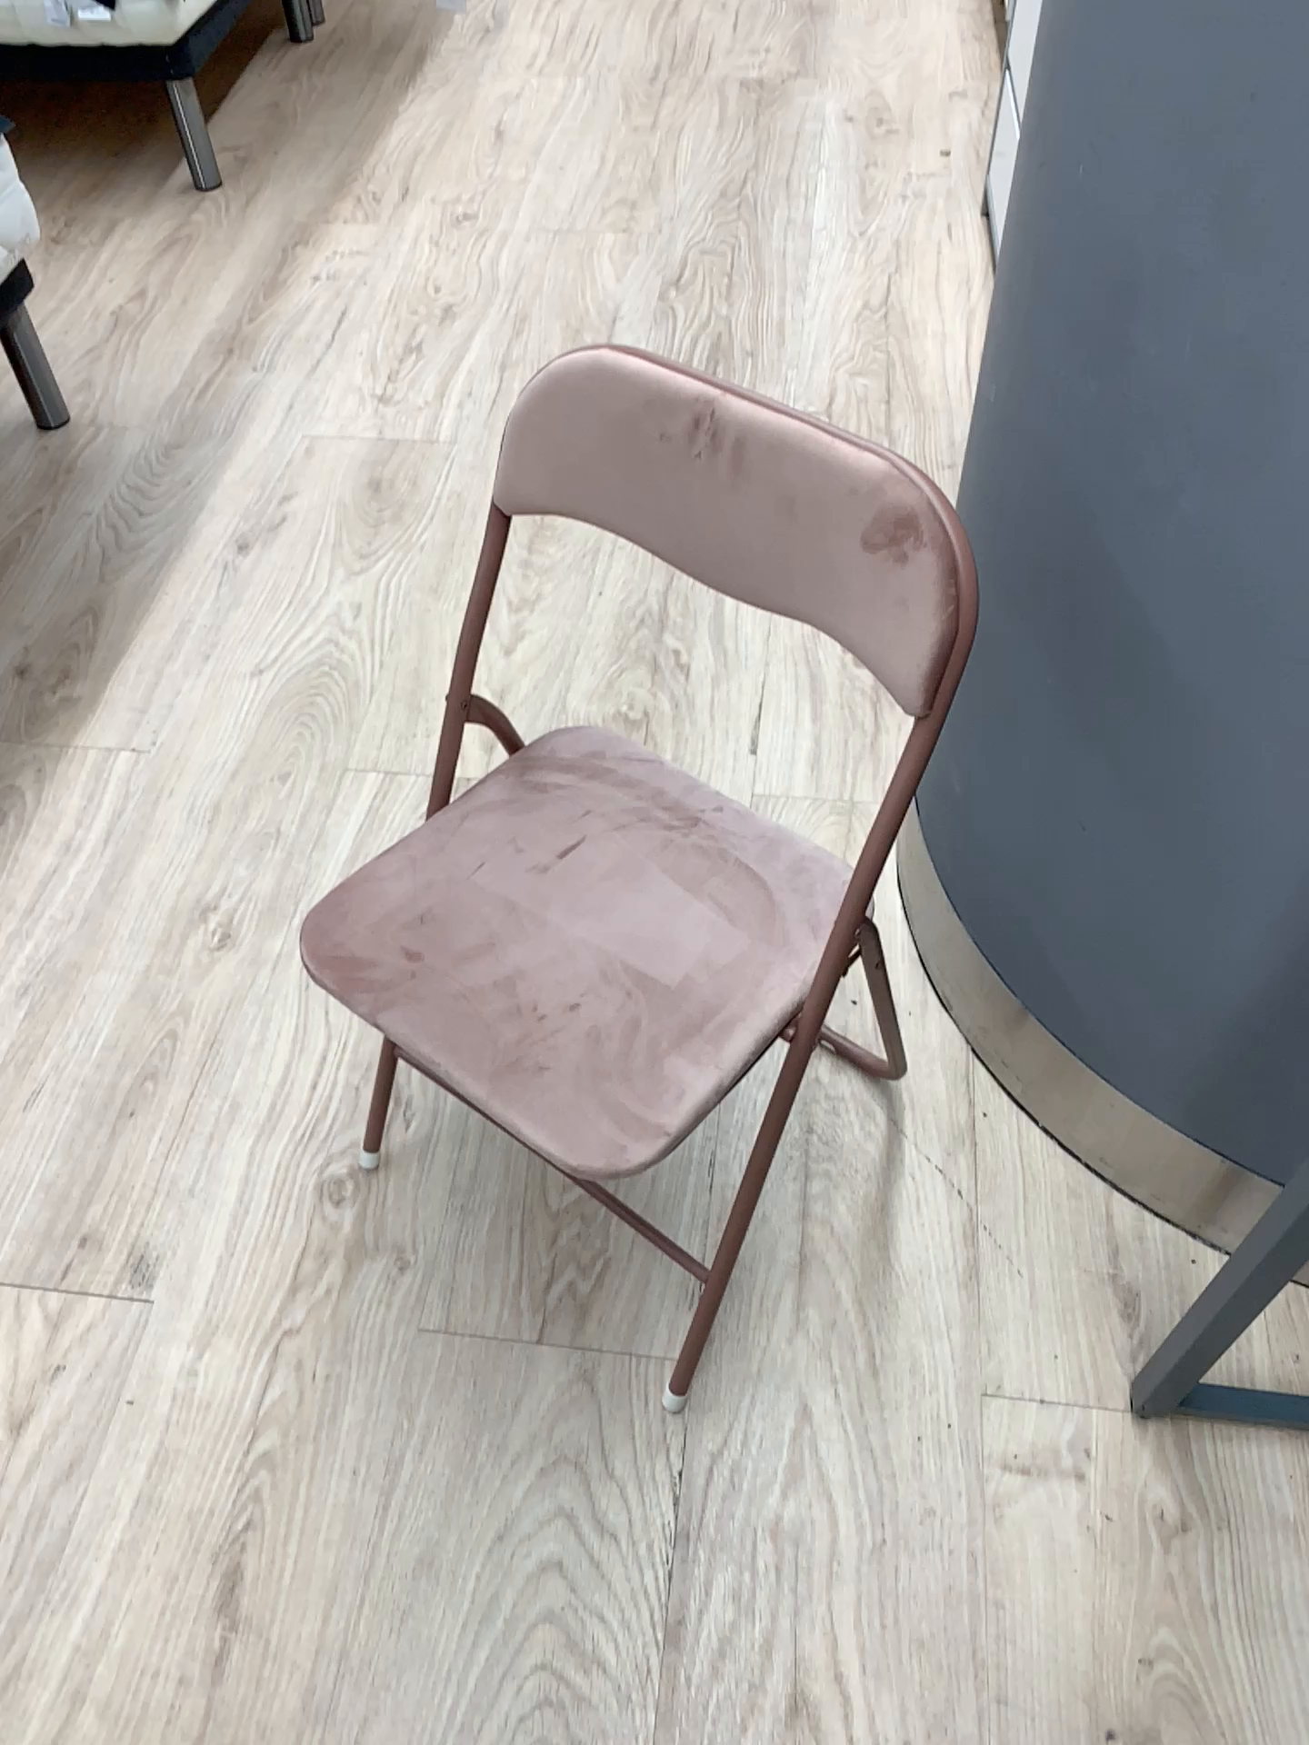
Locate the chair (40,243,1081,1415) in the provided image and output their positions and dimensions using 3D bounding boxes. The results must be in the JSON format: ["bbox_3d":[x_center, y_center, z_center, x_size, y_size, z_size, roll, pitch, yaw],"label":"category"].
[{"bbox_3d":[-0.036,0.010,1.158,0.461,0.797,0.481,29,58,22],"label":"chair"}]
